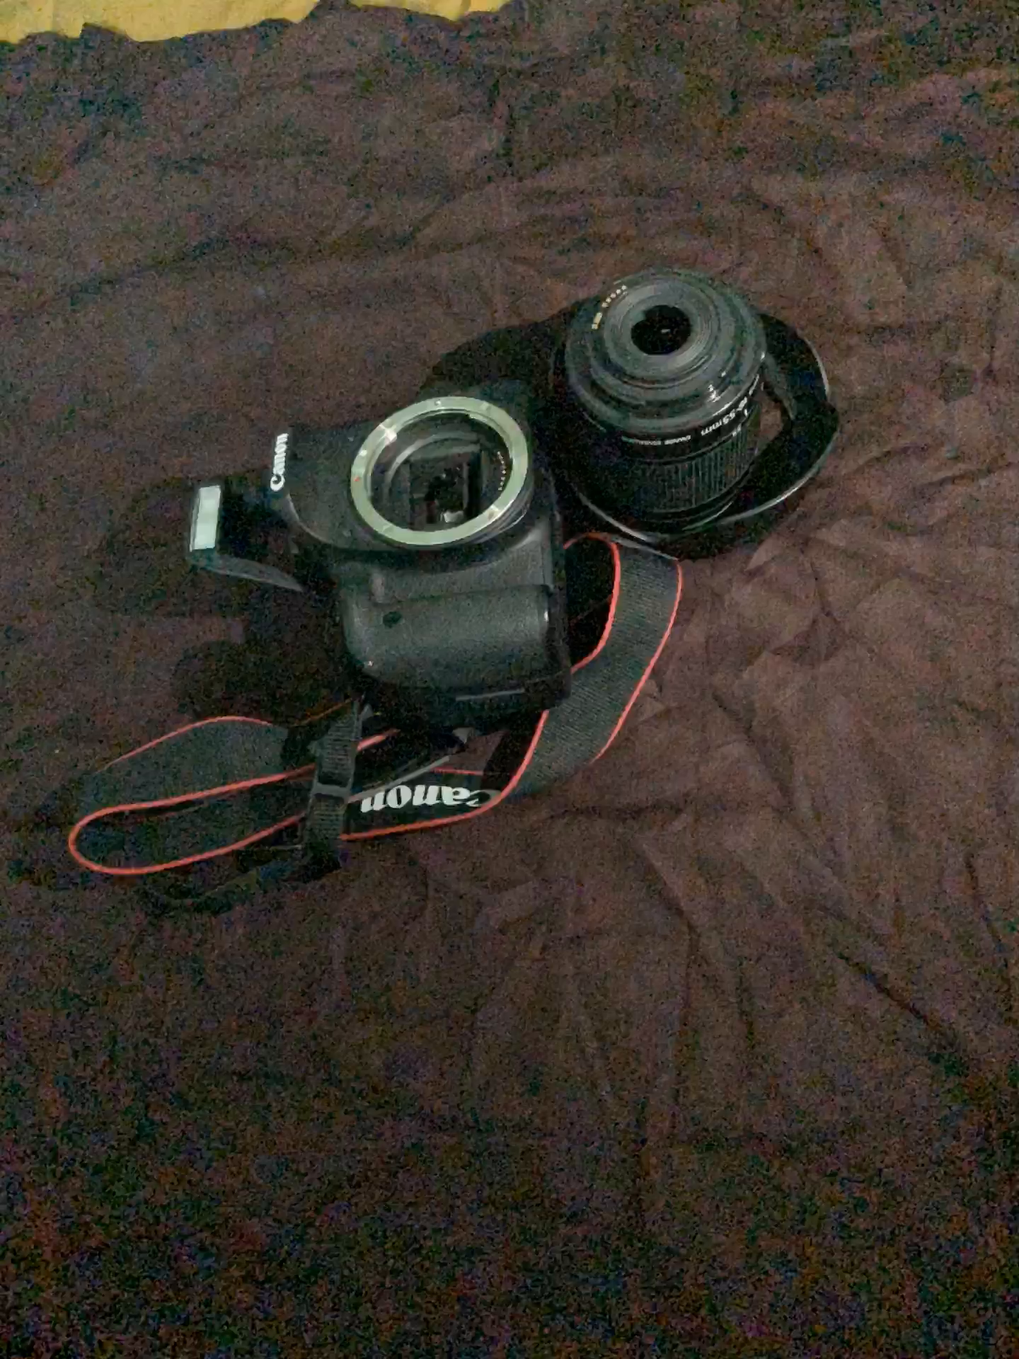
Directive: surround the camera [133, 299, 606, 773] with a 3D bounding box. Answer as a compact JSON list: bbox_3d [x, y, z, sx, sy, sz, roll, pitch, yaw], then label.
[{"bbox_3d":[-0.046,-0.055,0.408,0.150,0.082,0.147,-6,59,6],"label":"camera"}]
